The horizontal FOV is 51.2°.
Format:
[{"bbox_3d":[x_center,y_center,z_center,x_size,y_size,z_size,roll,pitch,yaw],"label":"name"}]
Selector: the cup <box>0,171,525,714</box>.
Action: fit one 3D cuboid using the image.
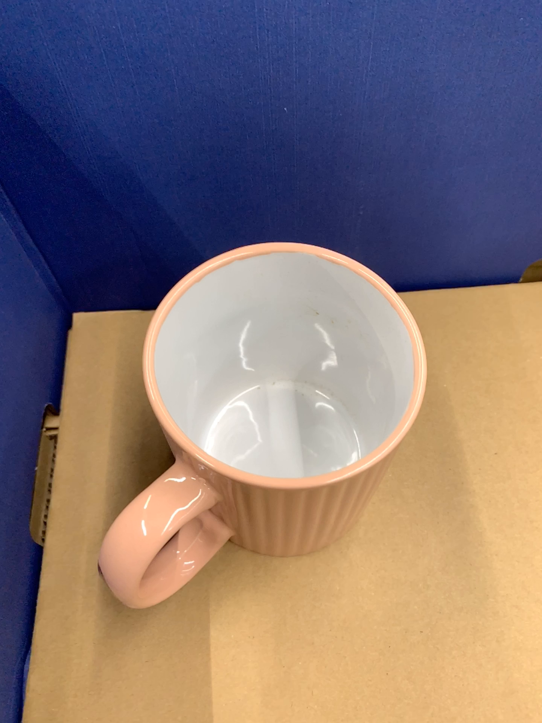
[{"bbox_3d":[0.003,0.033,0.235,0.102,0.128,0.155,33,62,24],"label":"cup"}]
